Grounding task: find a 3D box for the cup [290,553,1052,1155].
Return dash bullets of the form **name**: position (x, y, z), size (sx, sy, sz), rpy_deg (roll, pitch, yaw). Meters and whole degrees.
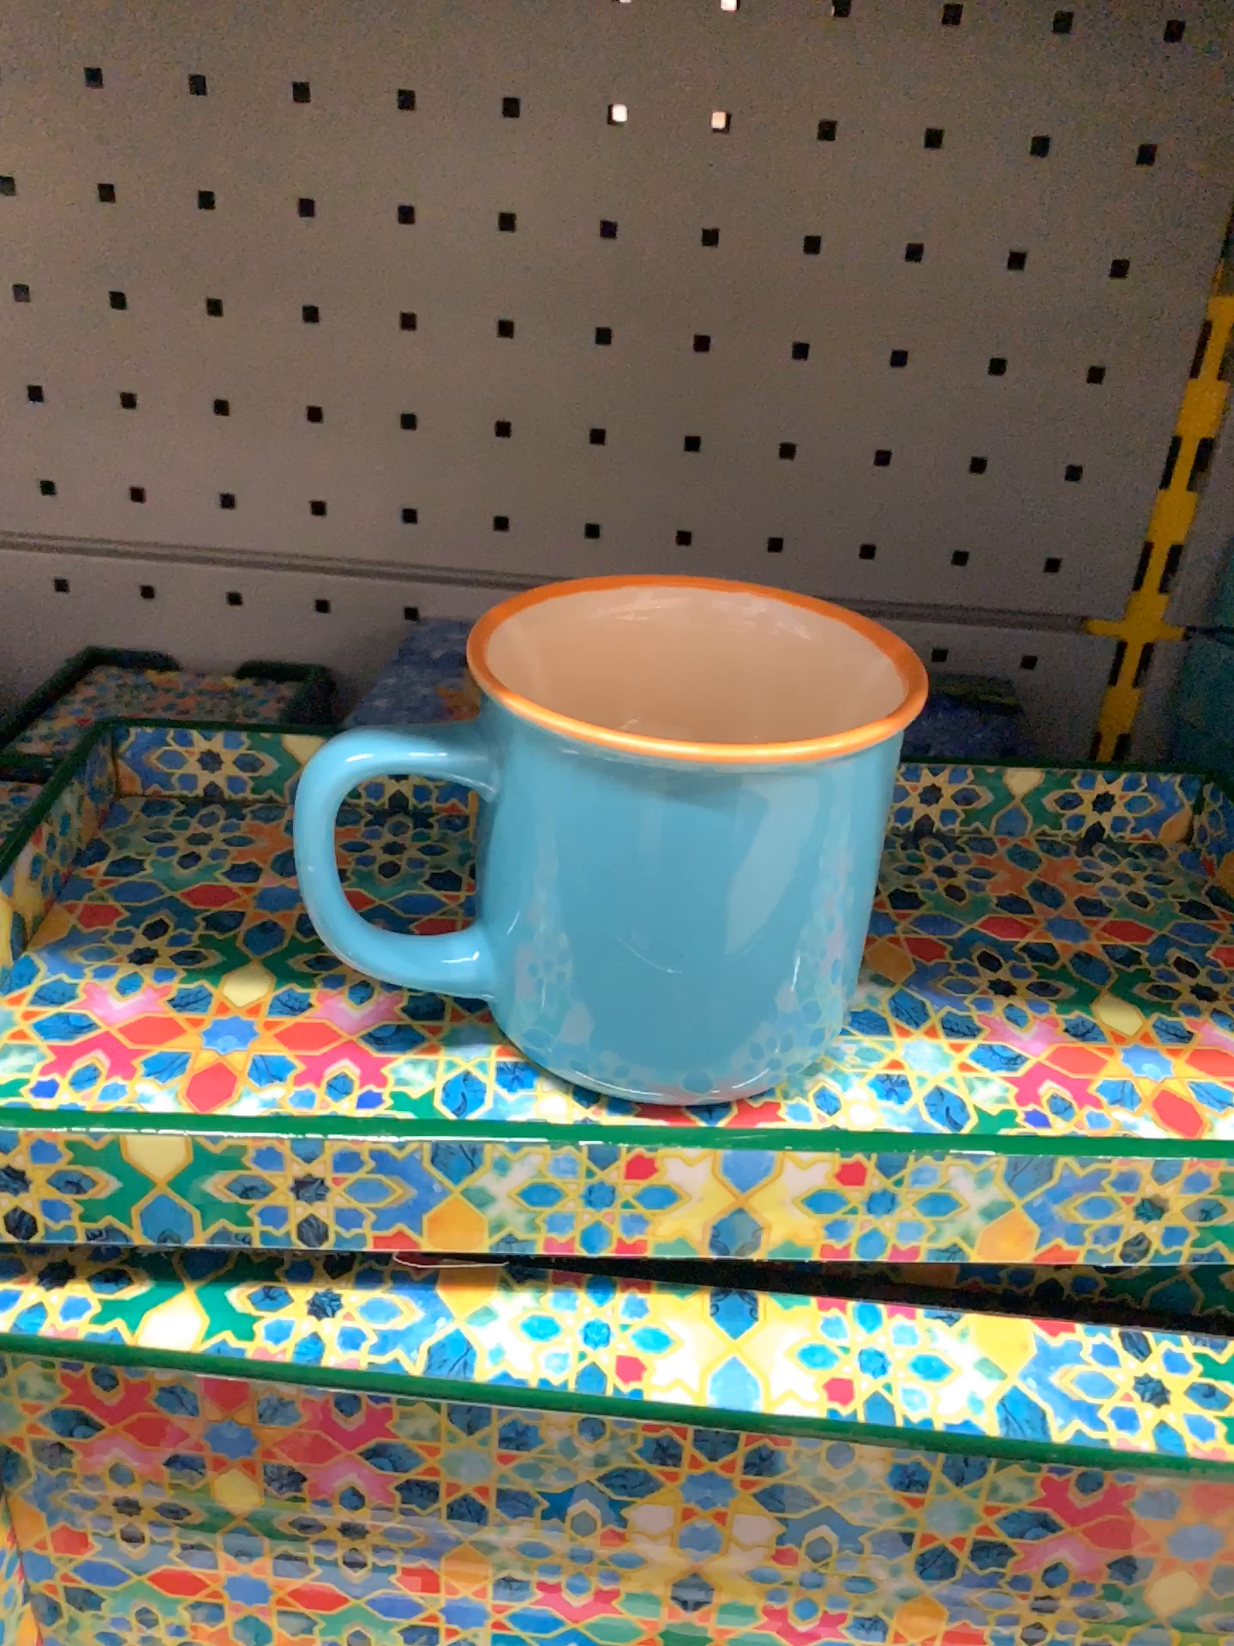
- **cup**: position (0.001, 0.000, 0.254), size (0.120, 0.080, 0.090), rpy_deg (-2, 29, -10)
